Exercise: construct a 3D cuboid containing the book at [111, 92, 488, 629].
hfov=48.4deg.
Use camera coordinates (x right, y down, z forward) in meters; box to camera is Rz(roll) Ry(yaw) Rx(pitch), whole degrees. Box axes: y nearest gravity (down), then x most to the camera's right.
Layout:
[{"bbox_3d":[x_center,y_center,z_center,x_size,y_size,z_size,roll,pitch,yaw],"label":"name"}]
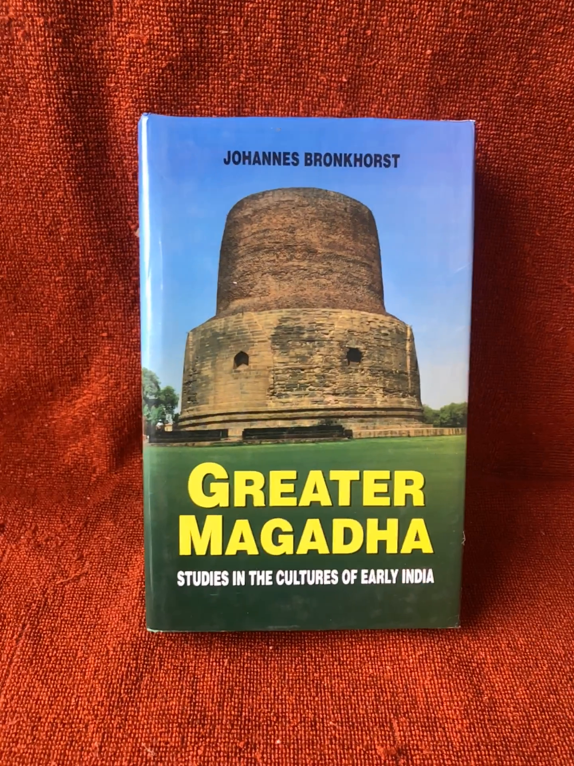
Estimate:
[{"bbox_3d":[0.004,-0.005,0.279,0.150,0.220,0.030,1,6,-2],"label":"book"}]
